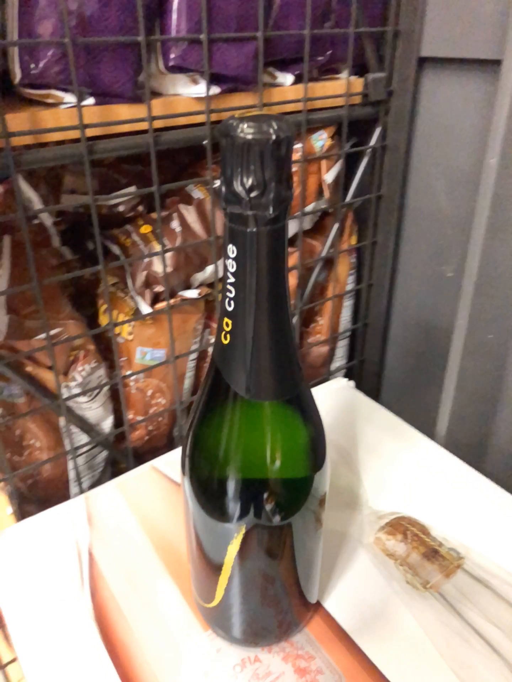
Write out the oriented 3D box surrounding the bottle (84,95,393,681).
[{"bbox_3d":[-0.004,0.032,0.301,0.090,0.289,0.090,0,29,0],"label":"bottle"}]
